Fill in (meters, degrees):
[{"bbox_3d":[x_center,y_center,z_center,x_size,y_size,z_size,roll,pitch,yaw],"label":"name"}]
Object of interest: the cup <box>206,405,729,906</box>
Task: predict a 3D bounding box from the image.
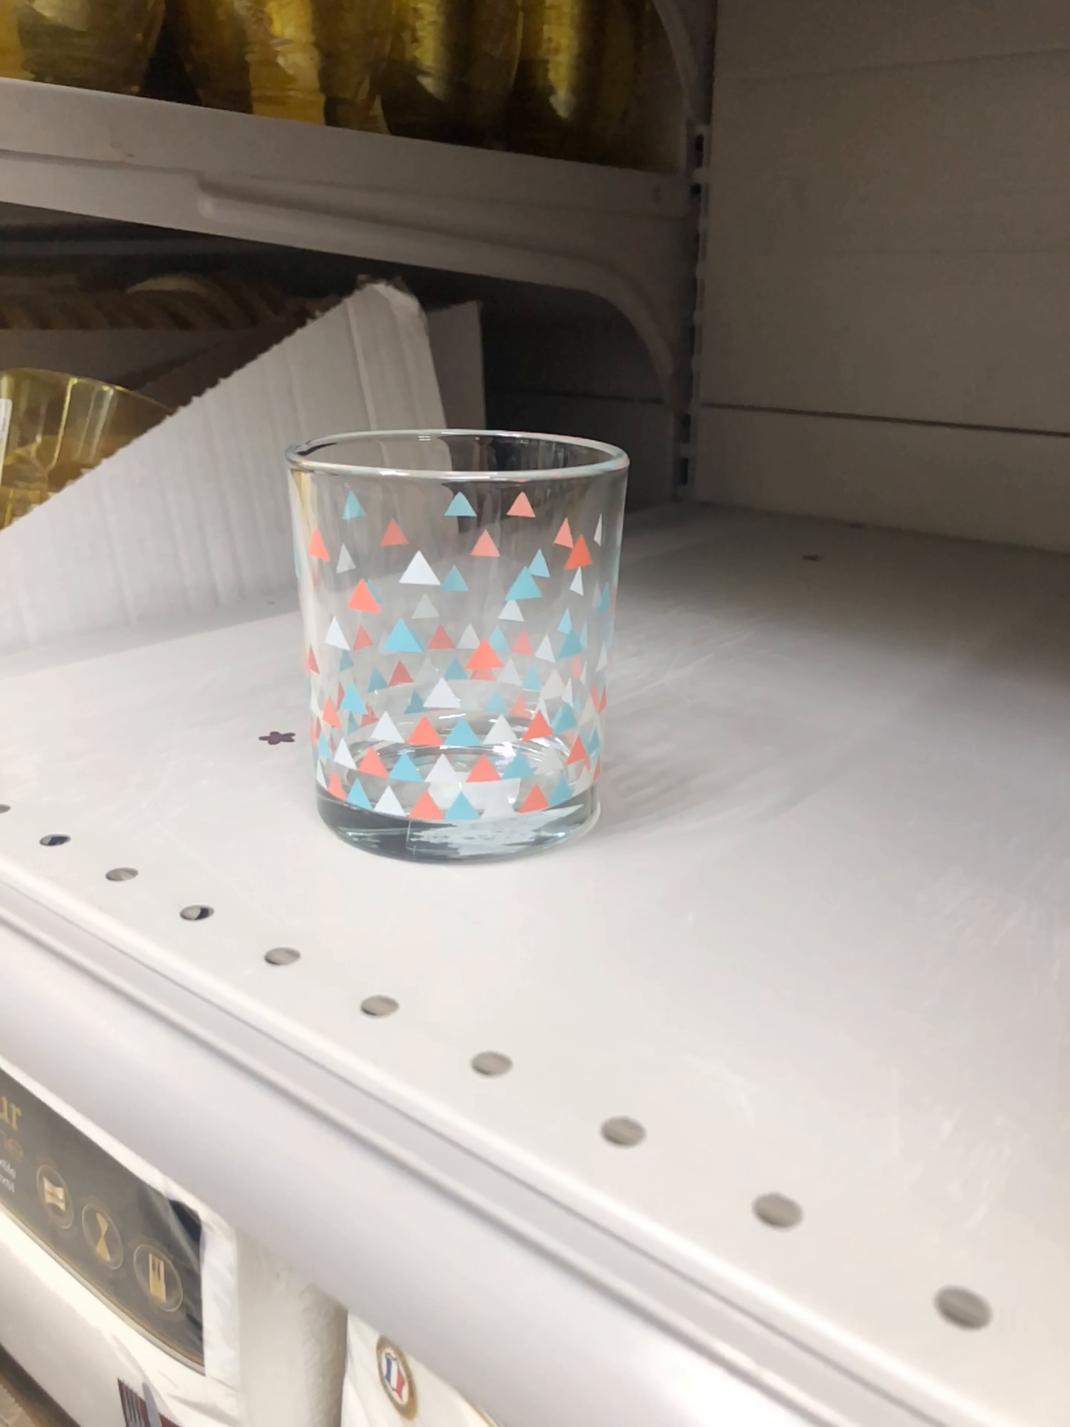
[{"bbox_3d":[-0.014,-0.021,0.258,0.076,0.081,0.077,1,19,0],"label":"cup"}]
